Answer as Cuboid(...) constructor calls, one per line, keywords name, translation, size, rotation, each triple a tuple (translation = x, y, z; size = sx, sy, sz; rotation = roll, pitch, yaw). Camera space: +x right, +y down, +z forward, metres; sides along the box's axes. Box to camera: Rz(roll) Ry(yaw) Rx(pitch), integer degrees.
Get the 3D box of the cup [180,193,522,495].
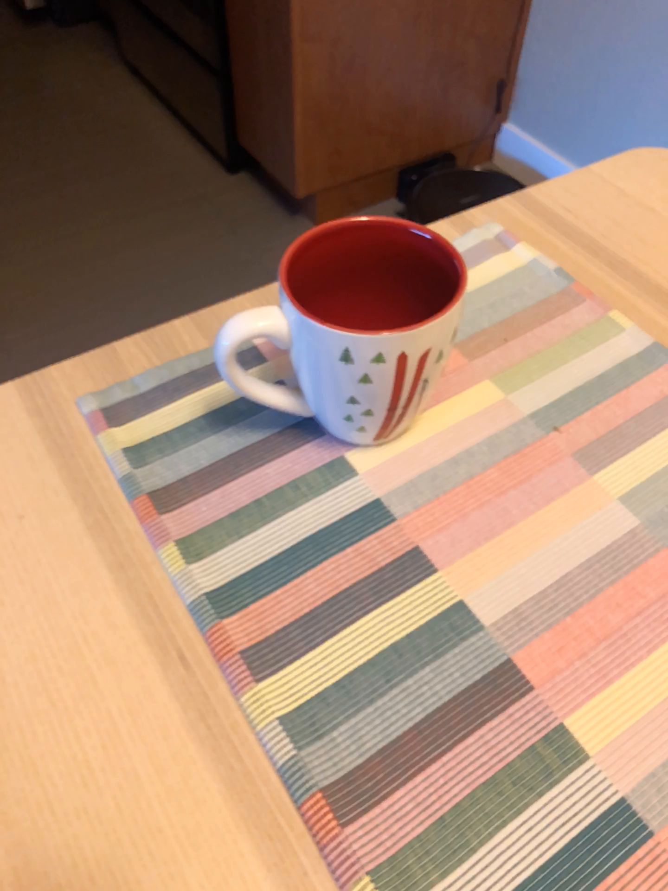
Cuboid(name="cup", translation=(0.004, -0.056, 0.396), size=(0.140, 0.090, 0.100), rotation=(-14, 52, -12))
